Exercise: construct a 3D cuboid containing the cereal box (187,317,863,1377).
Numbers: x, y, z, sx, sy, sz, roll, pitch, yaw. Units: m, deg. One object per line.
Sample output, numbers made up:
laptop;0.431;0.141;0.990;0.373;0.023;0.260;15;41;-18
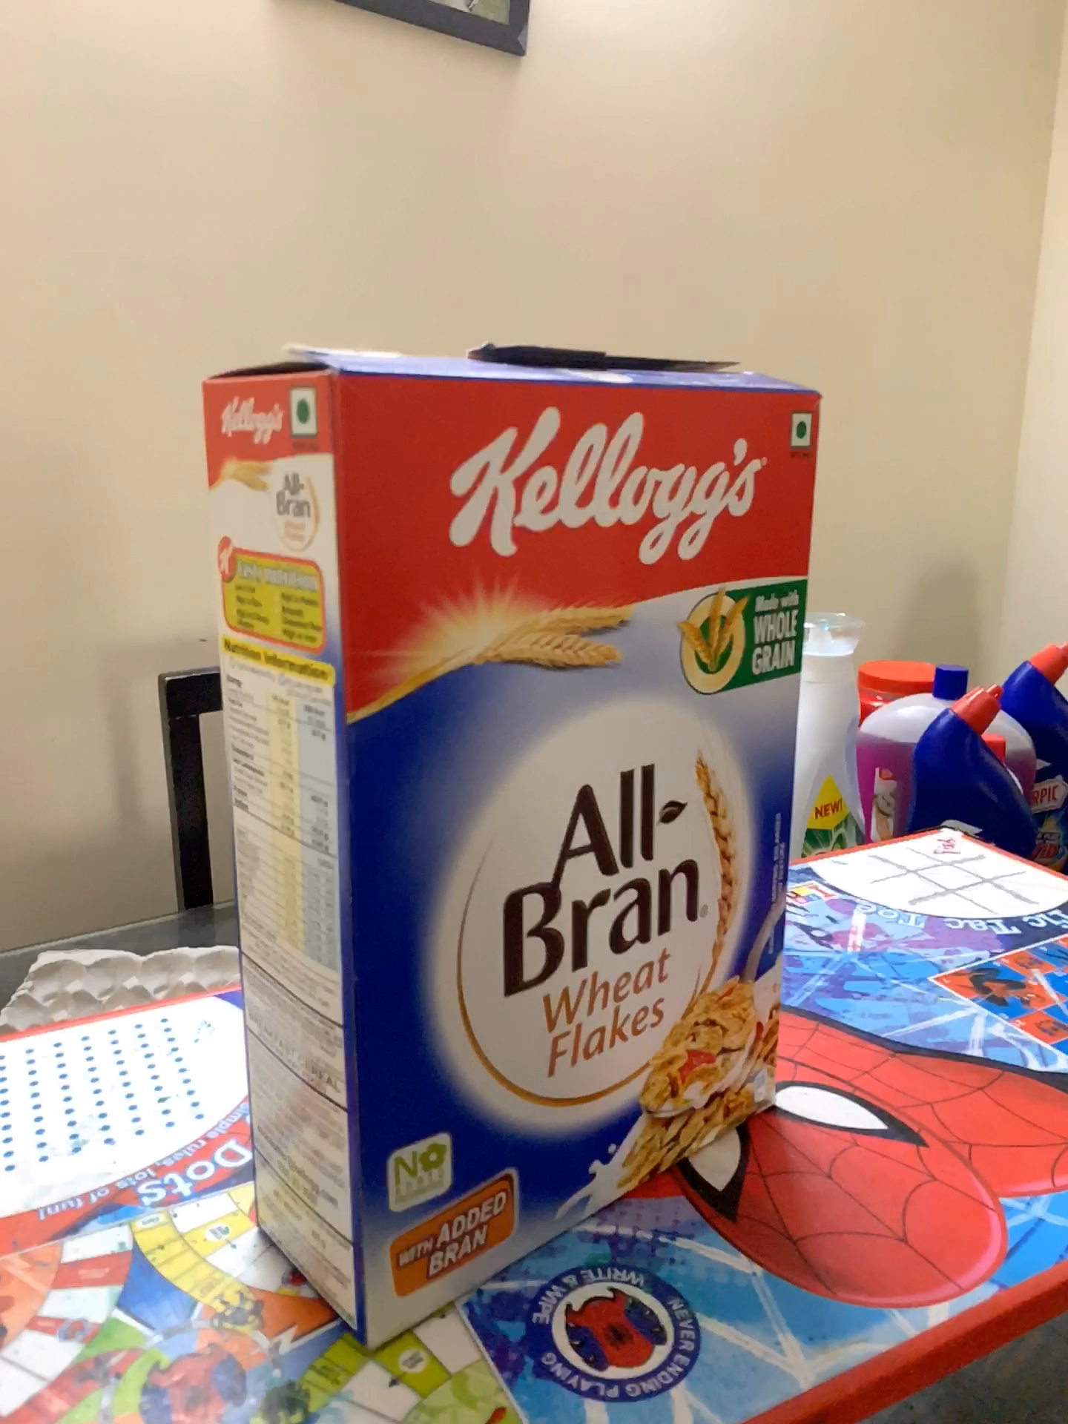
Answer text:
cereal box;0.009;0.023;0.326;0.190;0.249;0.060;-11;17;-40
